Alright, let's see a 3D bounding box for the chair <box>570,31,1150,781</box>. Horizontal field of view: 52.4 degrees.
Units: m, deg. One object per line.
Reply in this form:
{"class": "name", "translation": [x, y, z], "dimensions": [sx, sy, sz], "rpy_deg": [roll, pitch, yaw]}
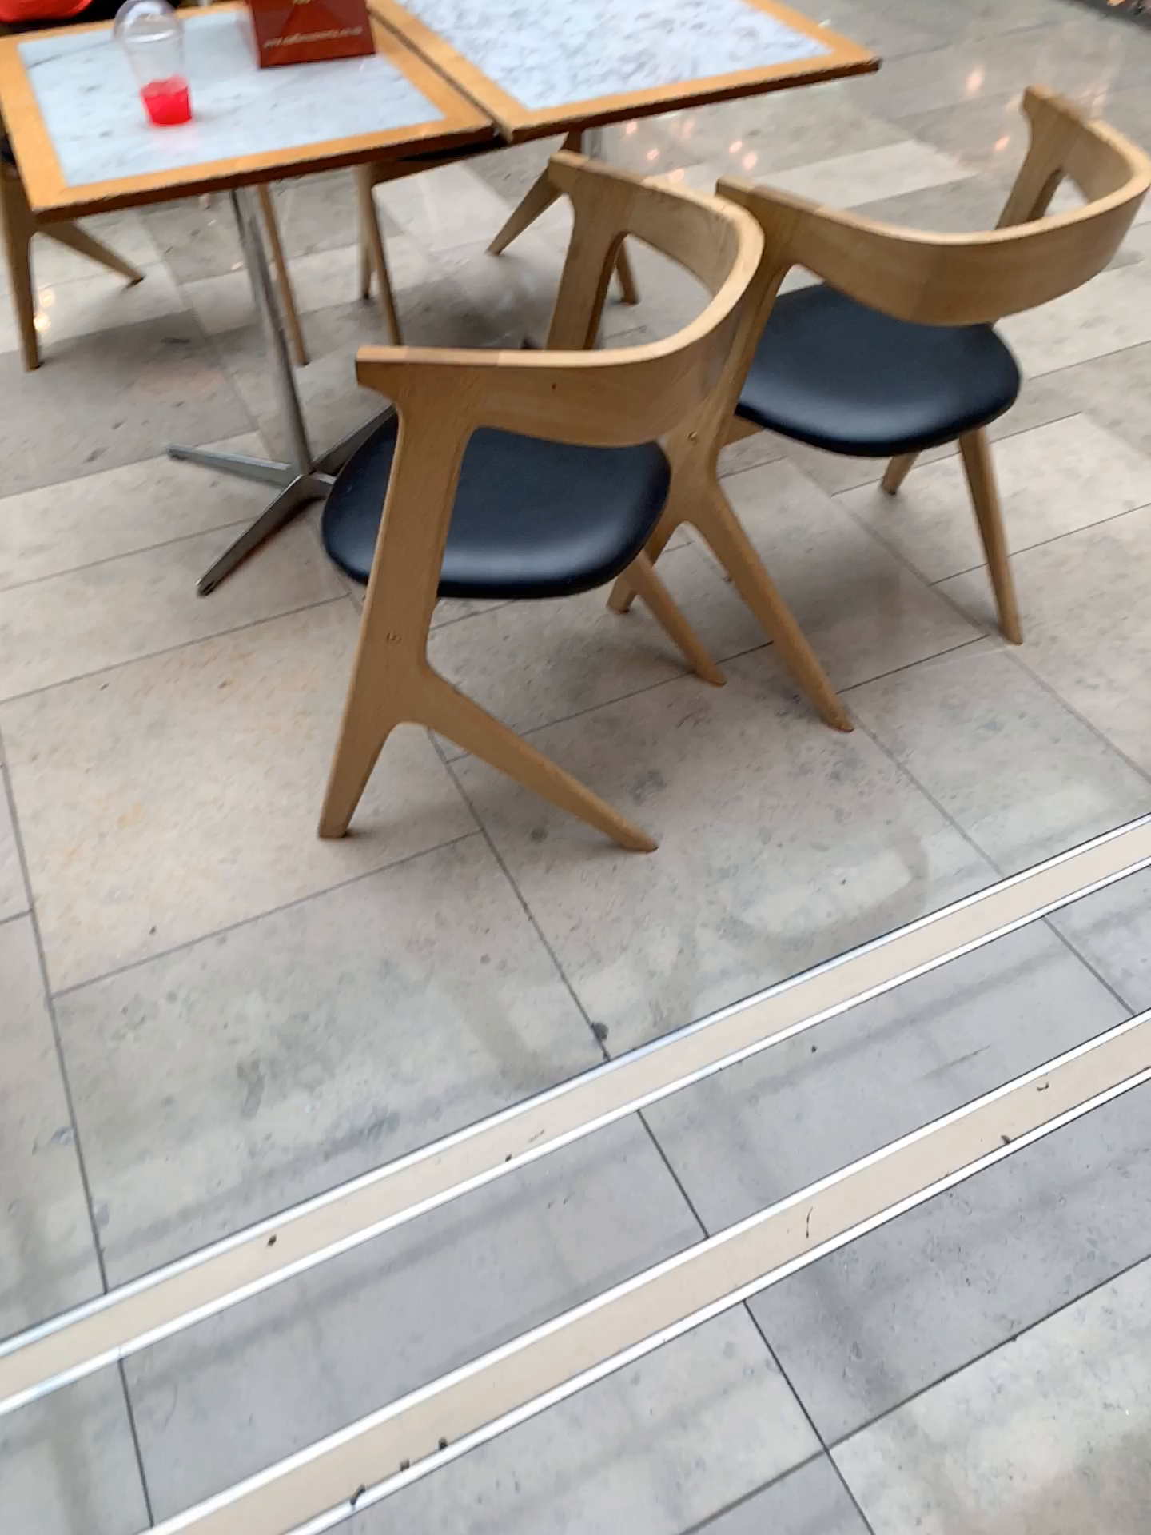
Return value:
{"class": "chair", "translation": [0.413, -0.519, 1.671], "dimensions": [0.635, 0.718, 0.533], "rpy_deg": [-27, 52, -21]}

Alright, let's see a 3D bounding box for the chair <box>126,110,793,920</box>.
{"class": "chair", "translation": [-0.073, -0.329, 1.506], "dimensions": [0.500, 0.708, 0.648], "rpy_deg": [13, 49, 14]}
